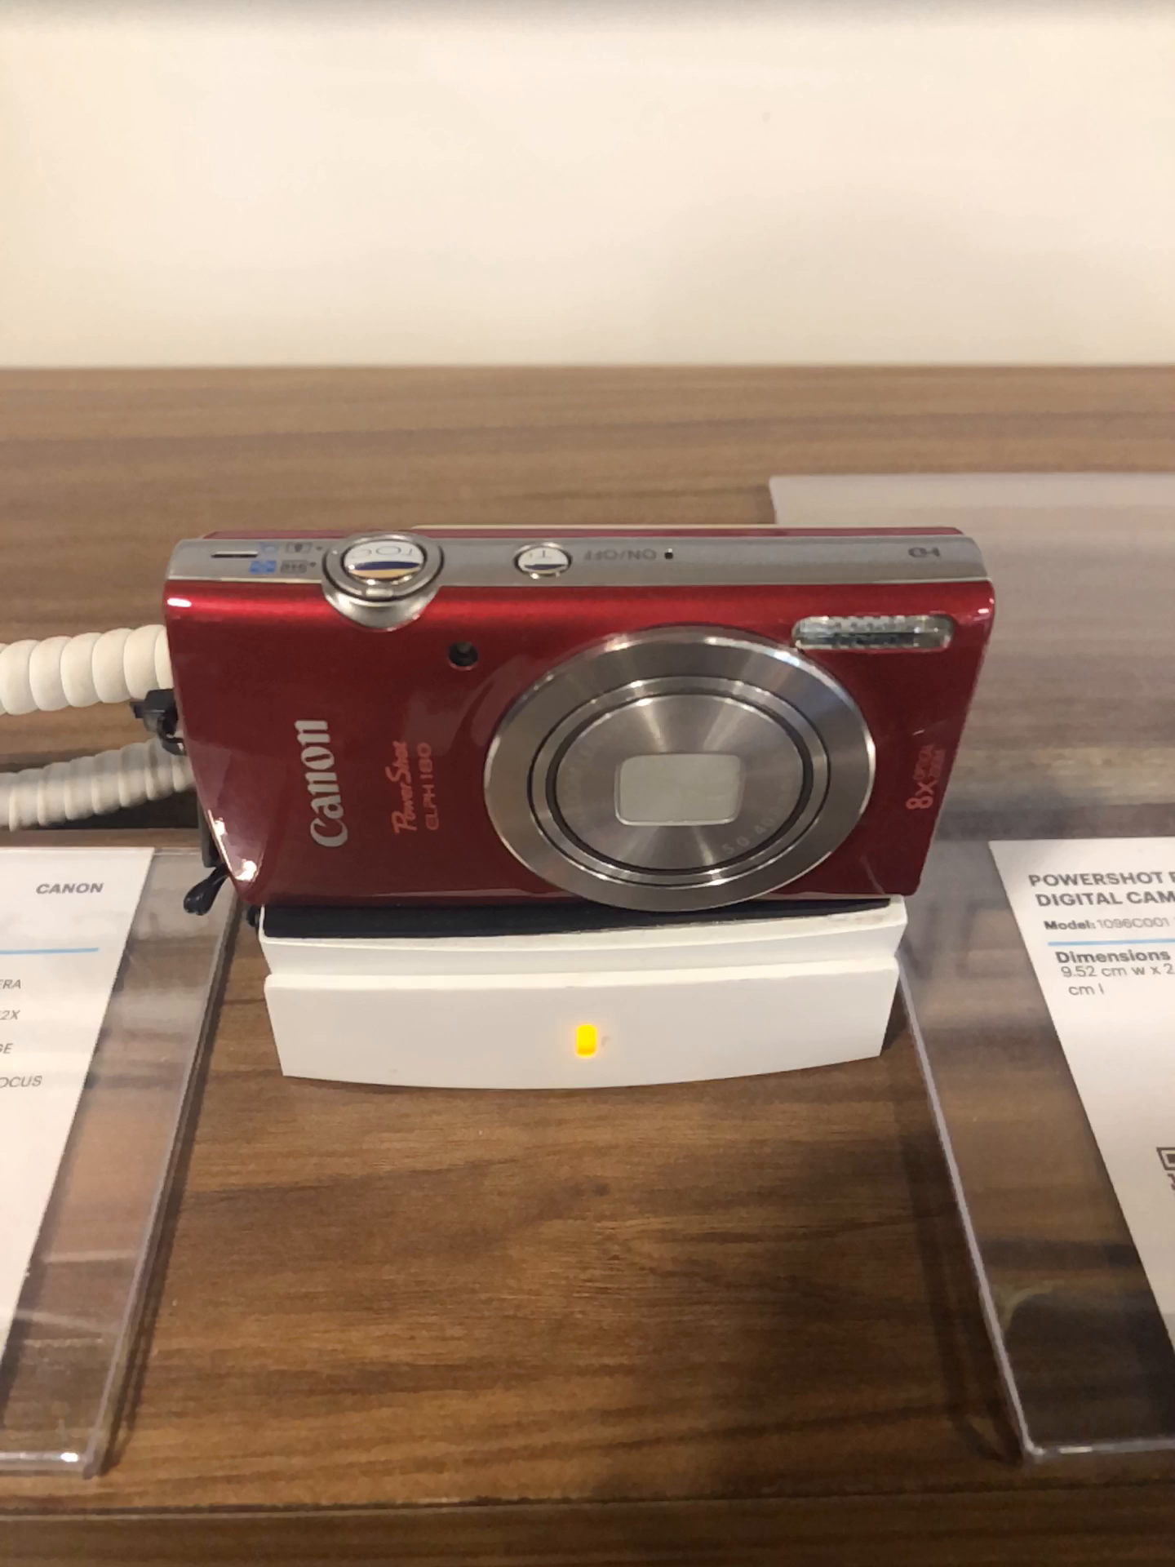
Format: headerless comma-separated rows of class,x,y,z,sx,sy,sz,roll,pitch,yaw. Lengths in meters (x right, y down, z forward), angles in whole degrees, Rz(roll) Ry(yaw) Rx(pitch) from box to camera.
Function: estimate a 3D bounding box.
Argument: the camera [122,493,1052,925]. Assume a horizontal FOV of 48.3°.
camera,0.000,-0.008,0.164,0.097,0.051,0.023,-1,48,-1
